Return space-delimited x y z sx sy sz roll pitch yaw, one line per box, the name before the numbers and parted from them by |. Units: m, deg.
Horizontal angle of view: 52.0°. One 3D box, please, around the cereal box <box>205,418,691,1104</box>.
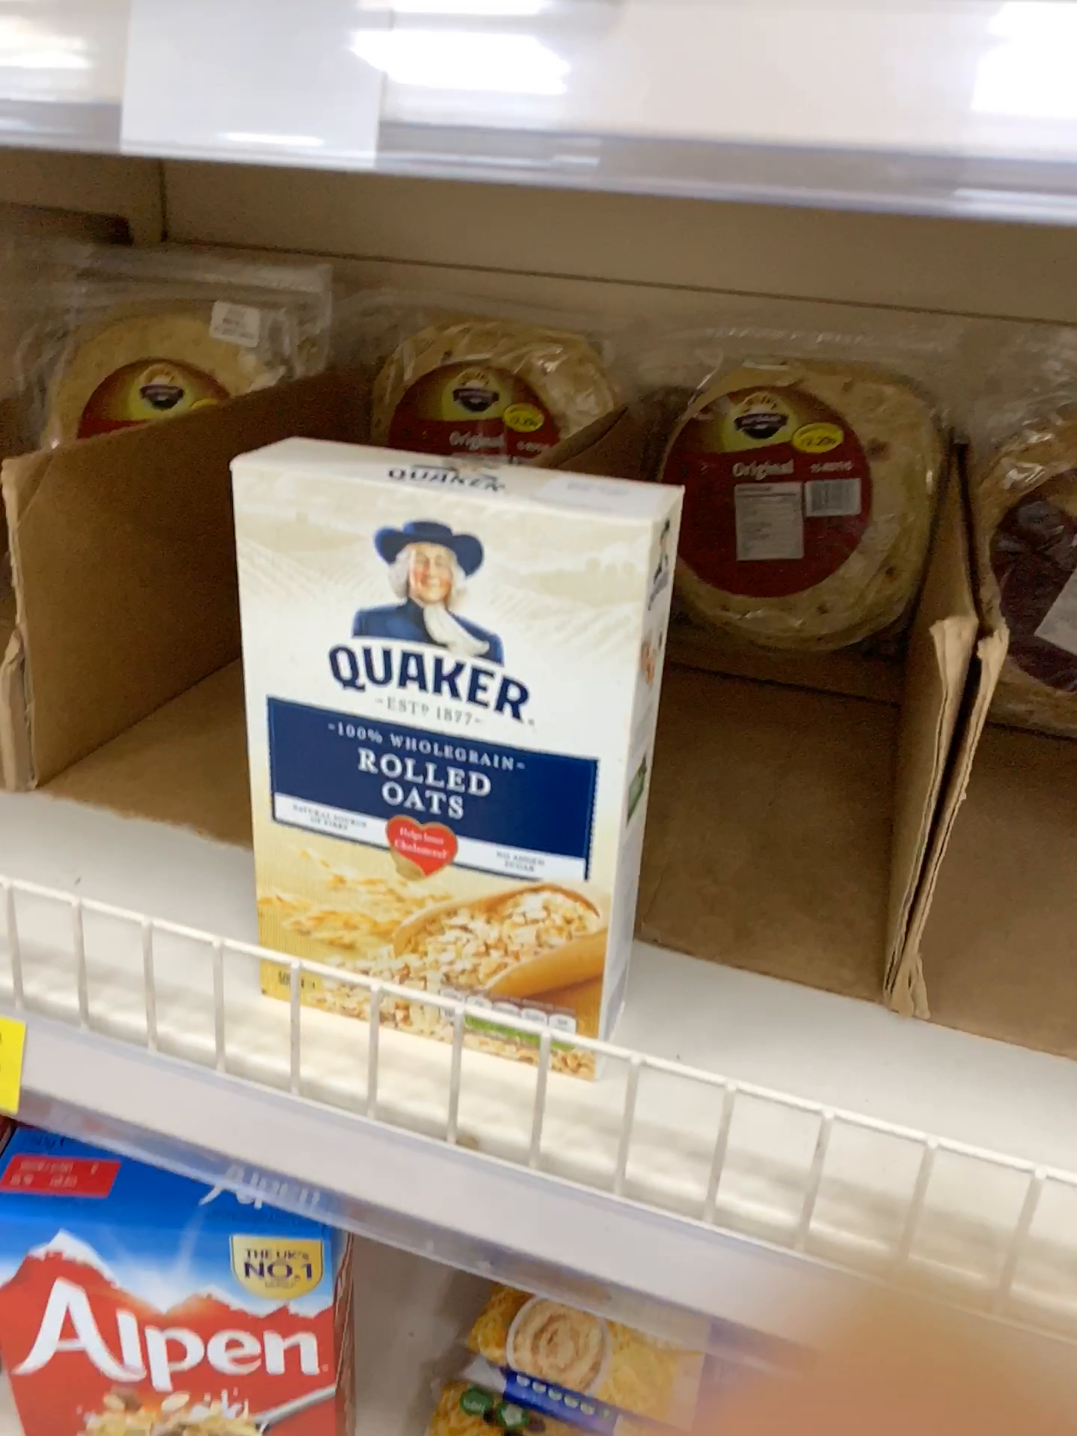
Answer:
cereal box | -0.036 0.018 0.408 0.150 0.228 0.050 11 26 14
